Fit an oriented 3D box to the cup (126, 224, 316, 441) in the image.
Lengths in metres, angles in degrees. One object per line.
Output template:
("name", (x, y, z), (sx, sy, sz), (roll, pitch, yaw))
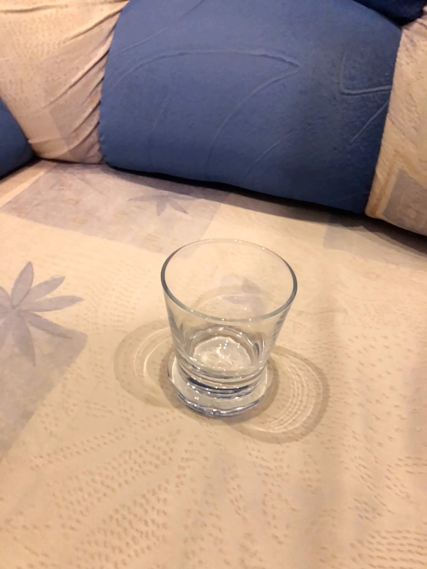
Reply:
("cup", (0.006, 0.026, 0.307), (0.084, 0.083, 0.087), (2, 37, -1))
